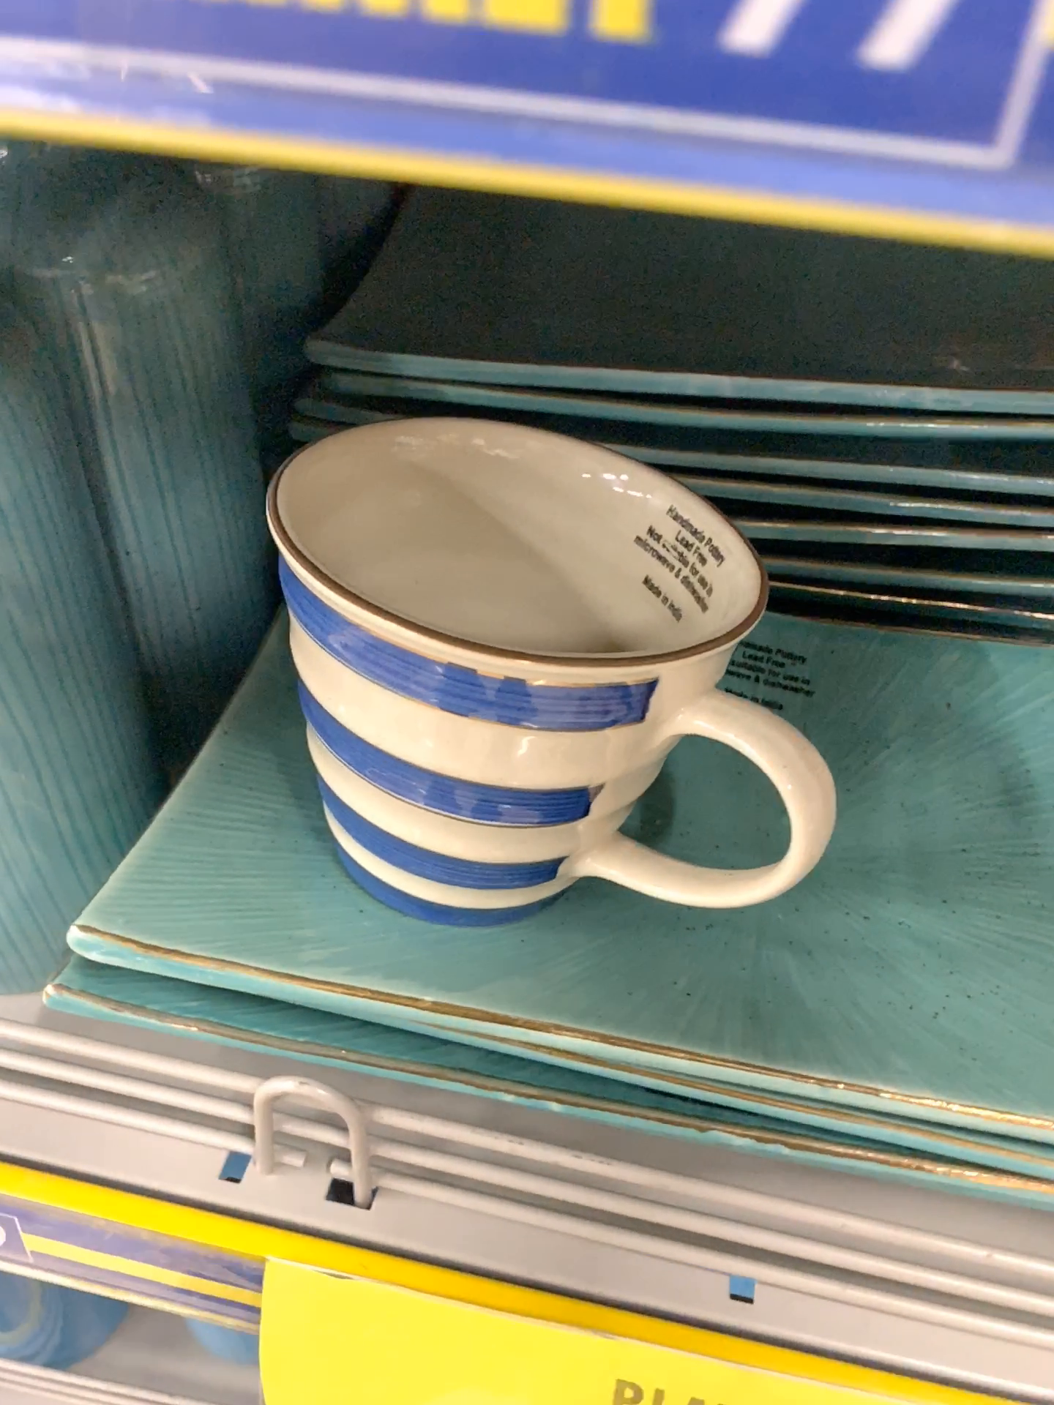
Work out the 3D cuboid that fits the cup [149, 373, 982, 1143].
[{"bbox_3d":[0.008,0.001,0.241,0.140,0.080,0.100,25,38,15],"label":"cup"}]
